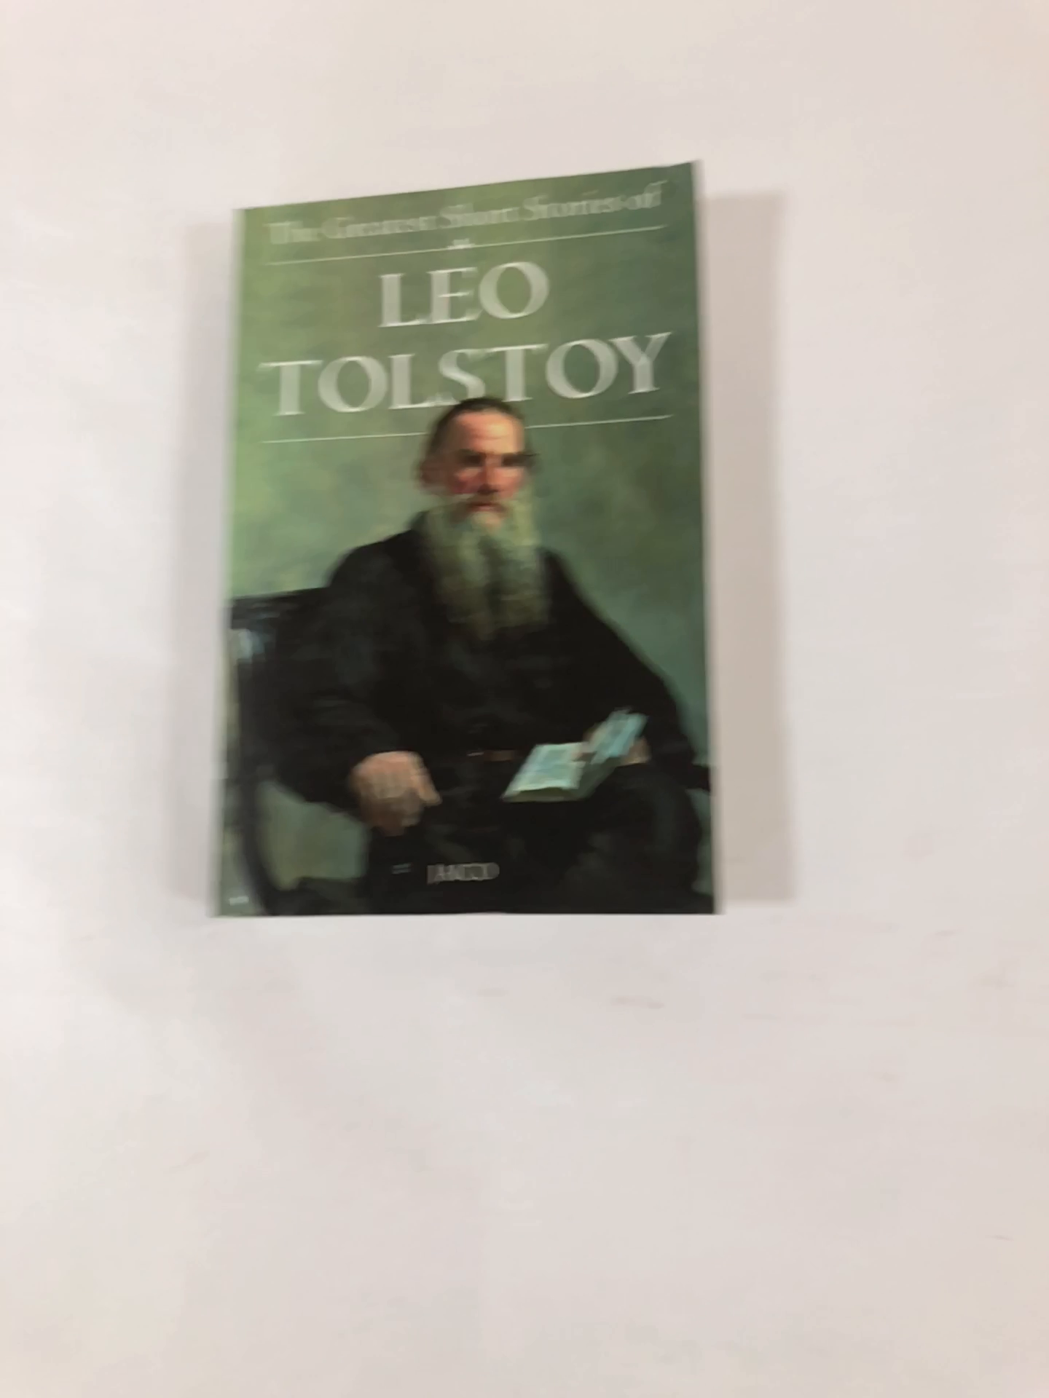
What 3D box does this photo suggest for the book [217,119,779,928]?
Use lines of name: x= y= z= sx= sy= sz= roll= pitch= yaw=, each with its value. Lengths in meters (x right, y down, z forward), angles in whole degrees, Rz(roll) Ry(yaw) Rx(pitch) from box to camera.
book: x=-0.010 y=-0.052 z=0.341 sx=0.150 sy=0.020 sz=0.230 roll=-2 pitch=79 yaw=7
